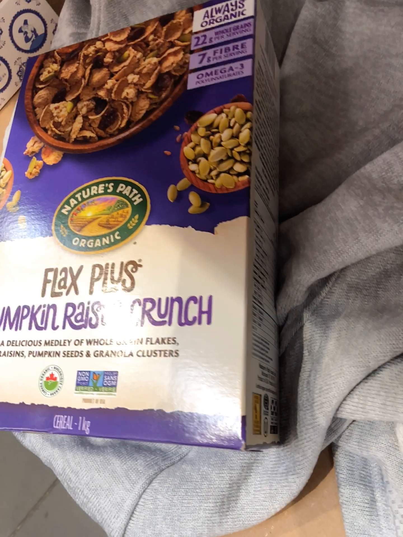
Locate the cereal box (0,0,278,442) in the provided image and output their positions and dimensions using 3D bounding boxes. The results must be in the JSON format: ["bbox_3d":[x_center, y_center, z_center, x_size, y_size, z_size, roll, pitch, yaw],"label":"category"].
[{"bbox_3d":[-0.057,-0.044,0.337,0.210,0.090,0.310,-4,69,21],"label":"cereal box"}]
